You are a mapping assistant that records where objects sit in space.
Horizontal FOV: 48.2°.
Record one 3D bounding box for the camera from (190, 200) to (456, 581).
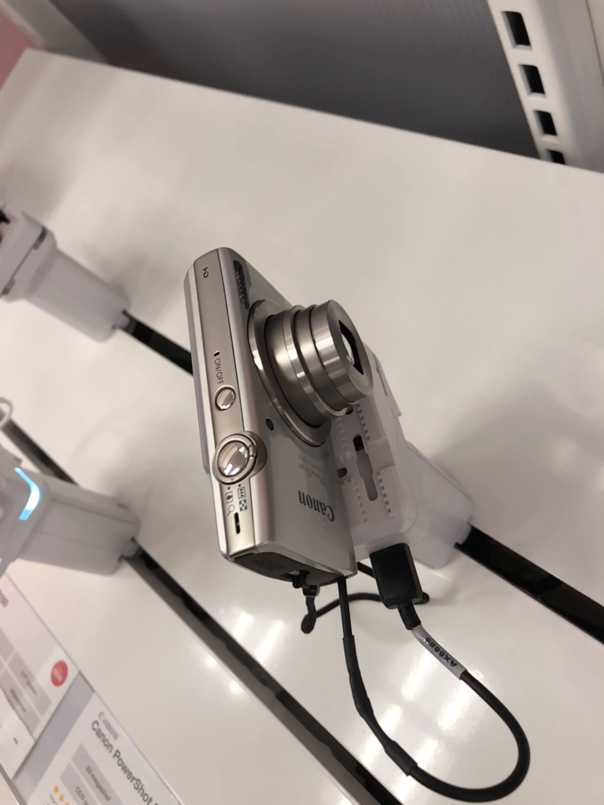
[{"bbox_3d":[0.005,-0.001,0.198,0.042,0.055,0.089,-23,59,22],"label":"camera"}]
